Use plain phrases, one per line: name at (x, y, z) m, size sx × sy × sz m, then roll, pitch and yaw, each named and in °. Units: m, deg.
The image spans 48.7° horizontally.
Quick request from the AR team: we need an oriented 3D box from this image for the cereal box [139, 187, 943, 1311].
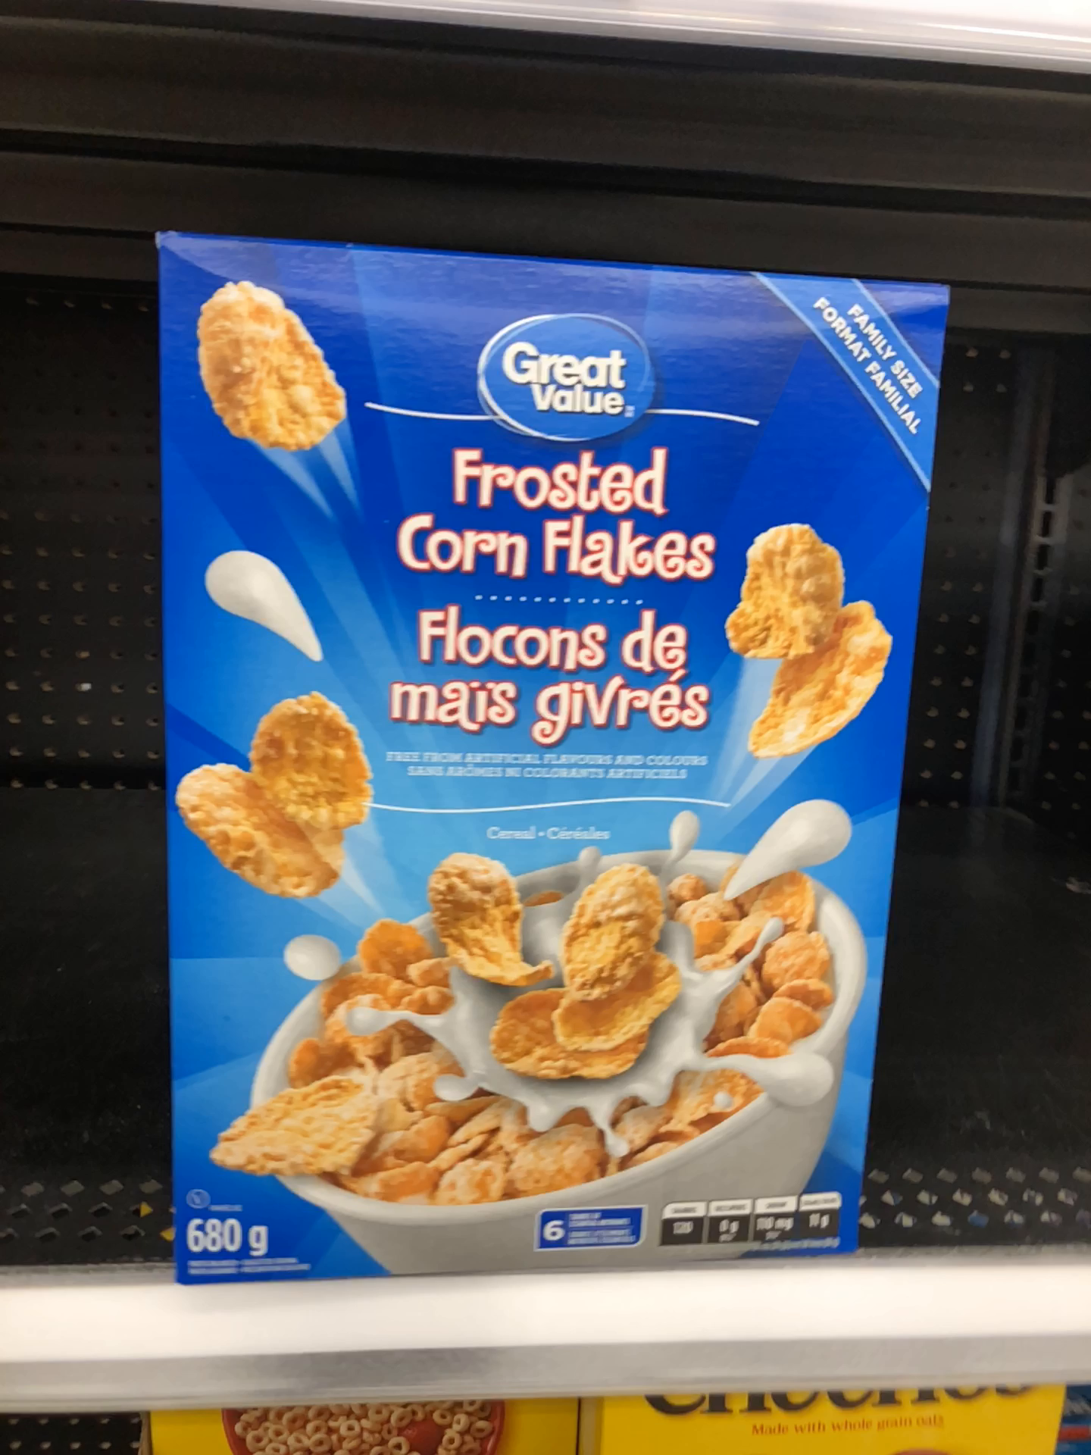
cereal box at (-0.008, 0.012, 0.379) m, size 0.210 × 0.309 × 0.080 m, roll 1°, pitch 11°, yaw -9°
